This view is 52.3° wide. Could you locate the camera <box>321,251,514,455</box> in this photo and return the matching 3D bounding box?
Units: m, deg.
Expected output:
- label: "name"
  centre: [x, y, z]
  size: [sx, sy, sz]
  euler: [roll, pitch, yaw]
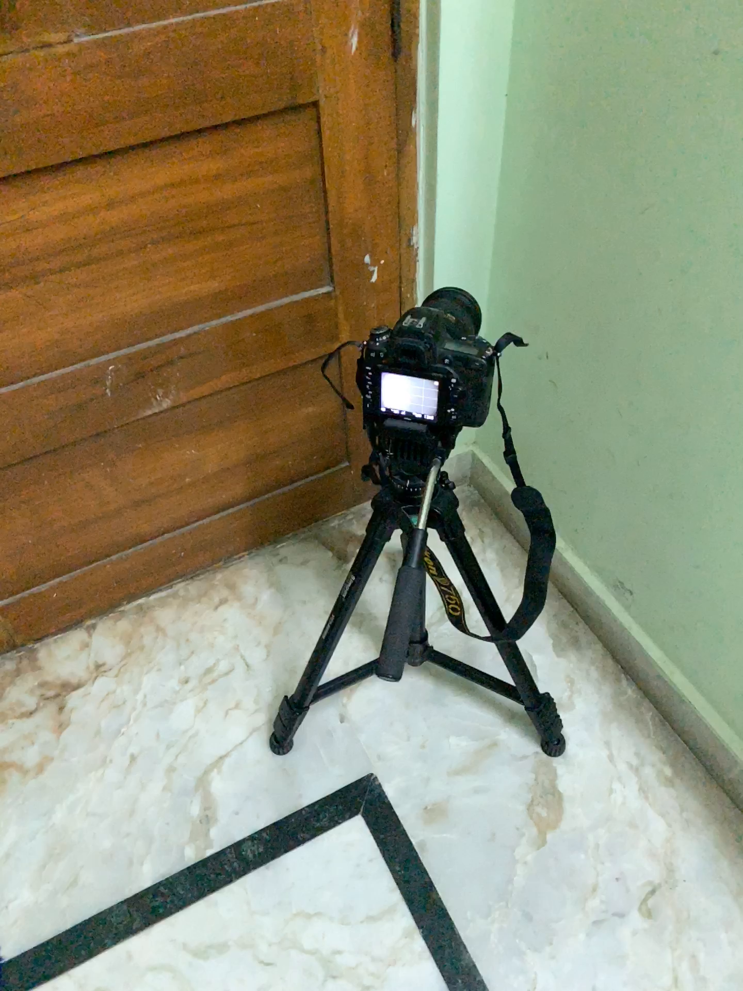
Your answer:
- label: "camera"
  centre: [0.060, -0.171, 0.888]
  size: [0.175, 0.128, 0.190]
  euler: [10, 48, 12]
